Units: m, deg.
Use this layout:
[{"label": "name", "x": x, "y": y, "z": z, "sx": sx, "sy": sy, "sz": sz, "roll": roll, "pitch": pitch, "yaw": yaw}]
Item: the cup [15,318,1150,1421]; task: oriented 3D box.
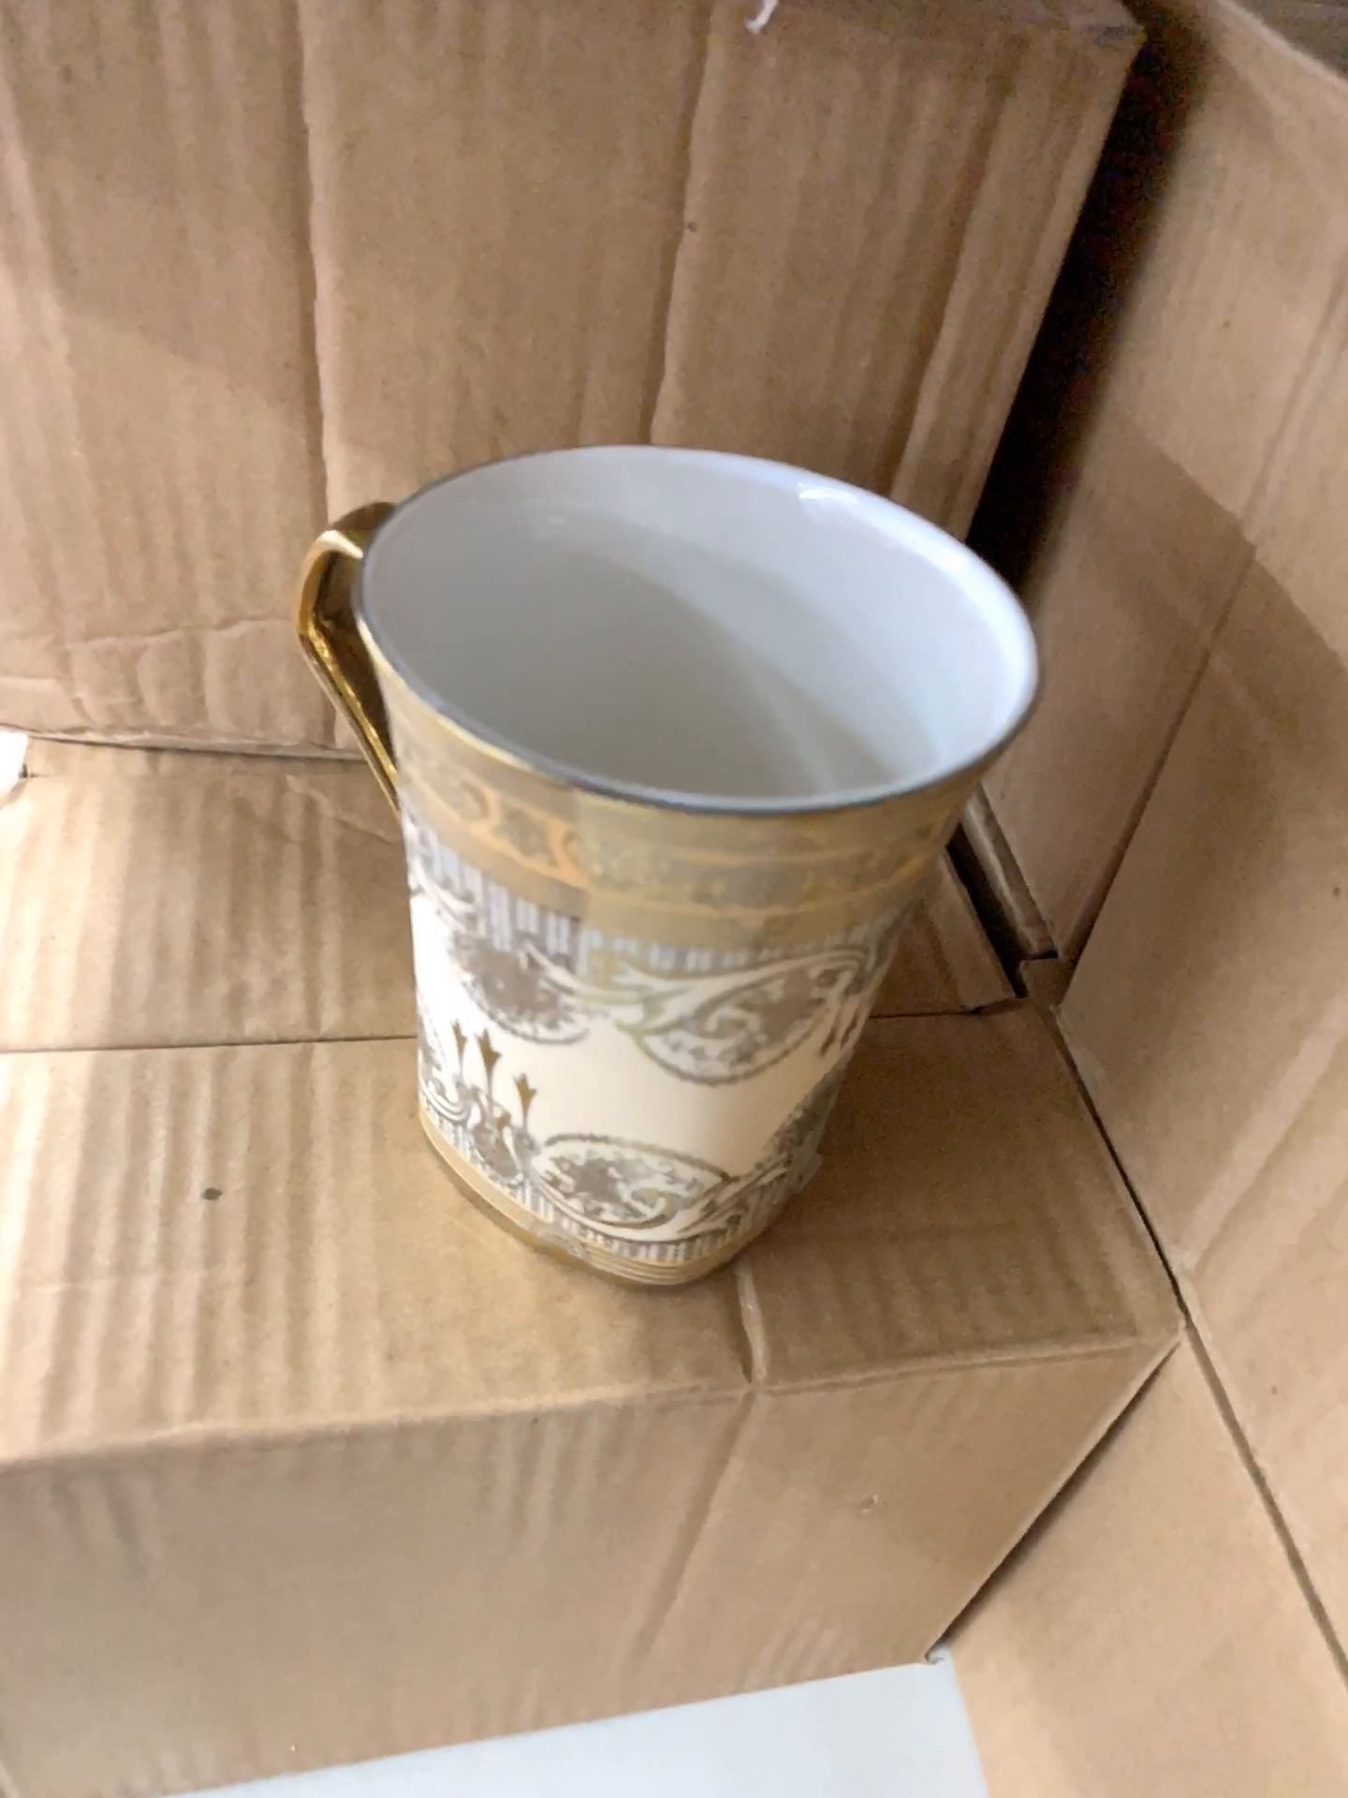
[{"label": "cup", "x": -0.013, "y": -0.010, "z": 0.197, "sx": 0.110, "sy": 0.089, "sz": 0.080, "roll": 29, "pitch": 48, "yaw": 21}]
